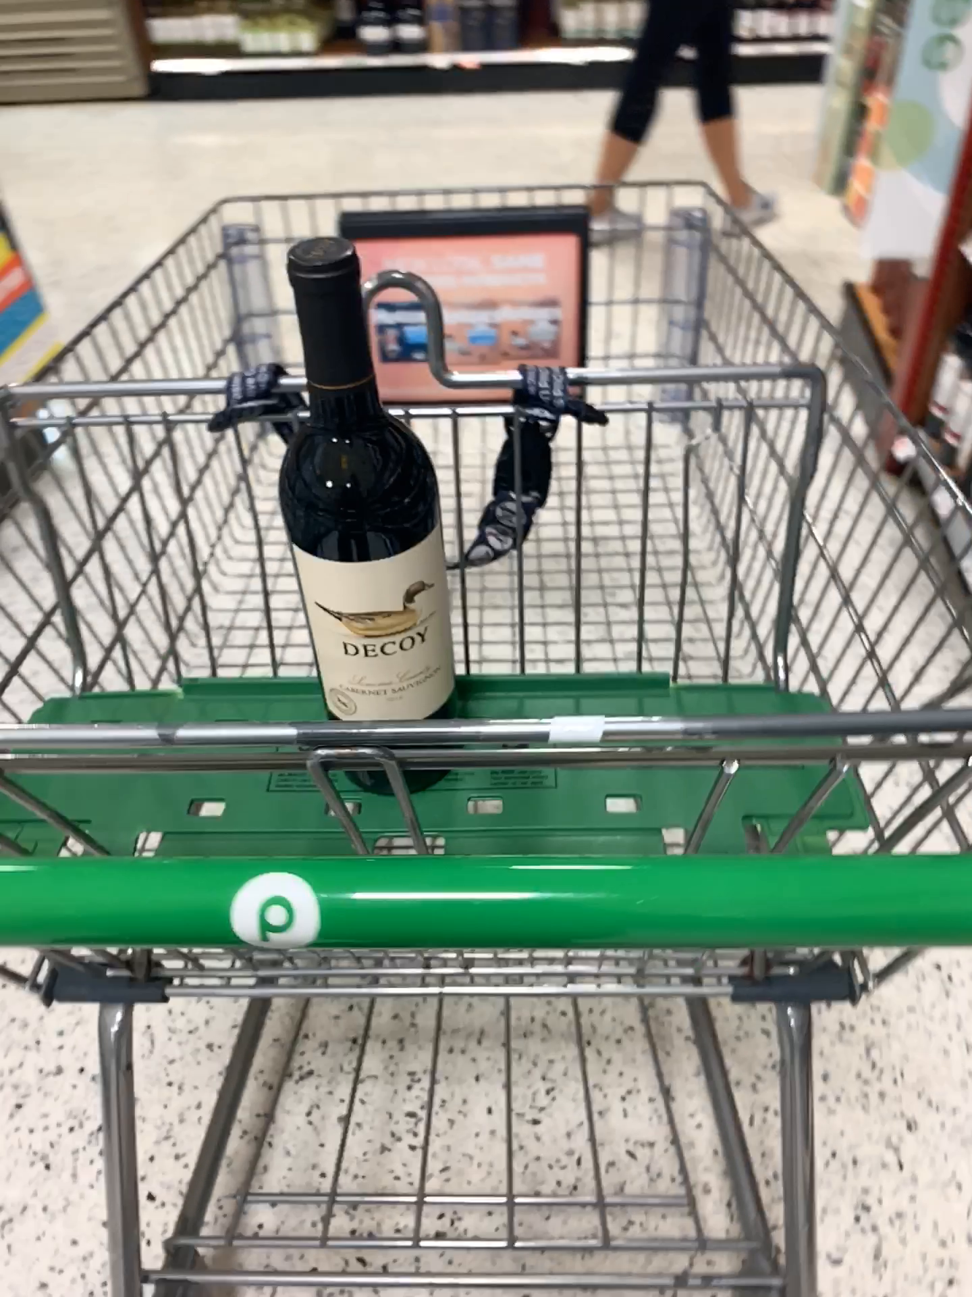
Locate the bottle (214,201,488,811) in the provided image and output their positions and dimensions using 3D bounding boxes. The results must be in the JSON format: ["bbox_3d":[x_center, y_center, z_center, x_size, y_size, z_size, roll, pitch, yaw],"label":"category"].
[{"bbox_3d":[-0.058,-0.055,0.515,0.090,0.297,0.091,-2,42,2],"label":"bottle"}]
